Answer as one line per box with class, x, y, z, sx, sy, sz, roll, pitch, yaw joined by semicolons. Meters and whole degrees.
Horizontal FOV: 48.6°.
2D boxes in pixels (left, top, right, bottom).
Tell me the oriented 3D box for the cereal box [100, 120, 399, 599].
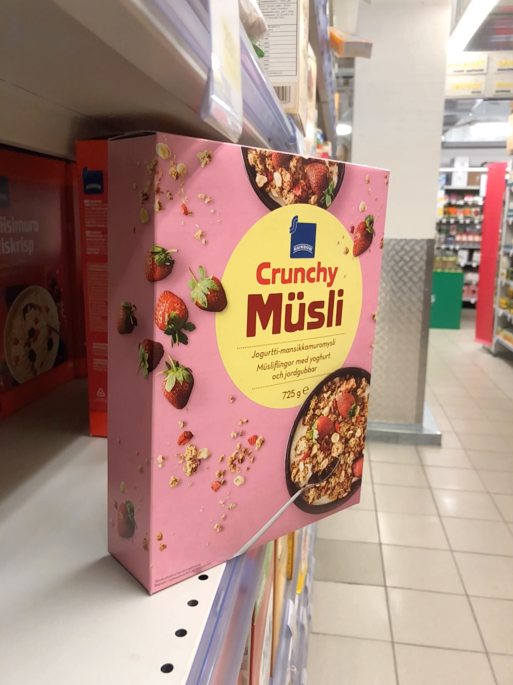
cereal box;0.001;0.004;0.388;0.200;0.259;0.060;-7;15;-41
